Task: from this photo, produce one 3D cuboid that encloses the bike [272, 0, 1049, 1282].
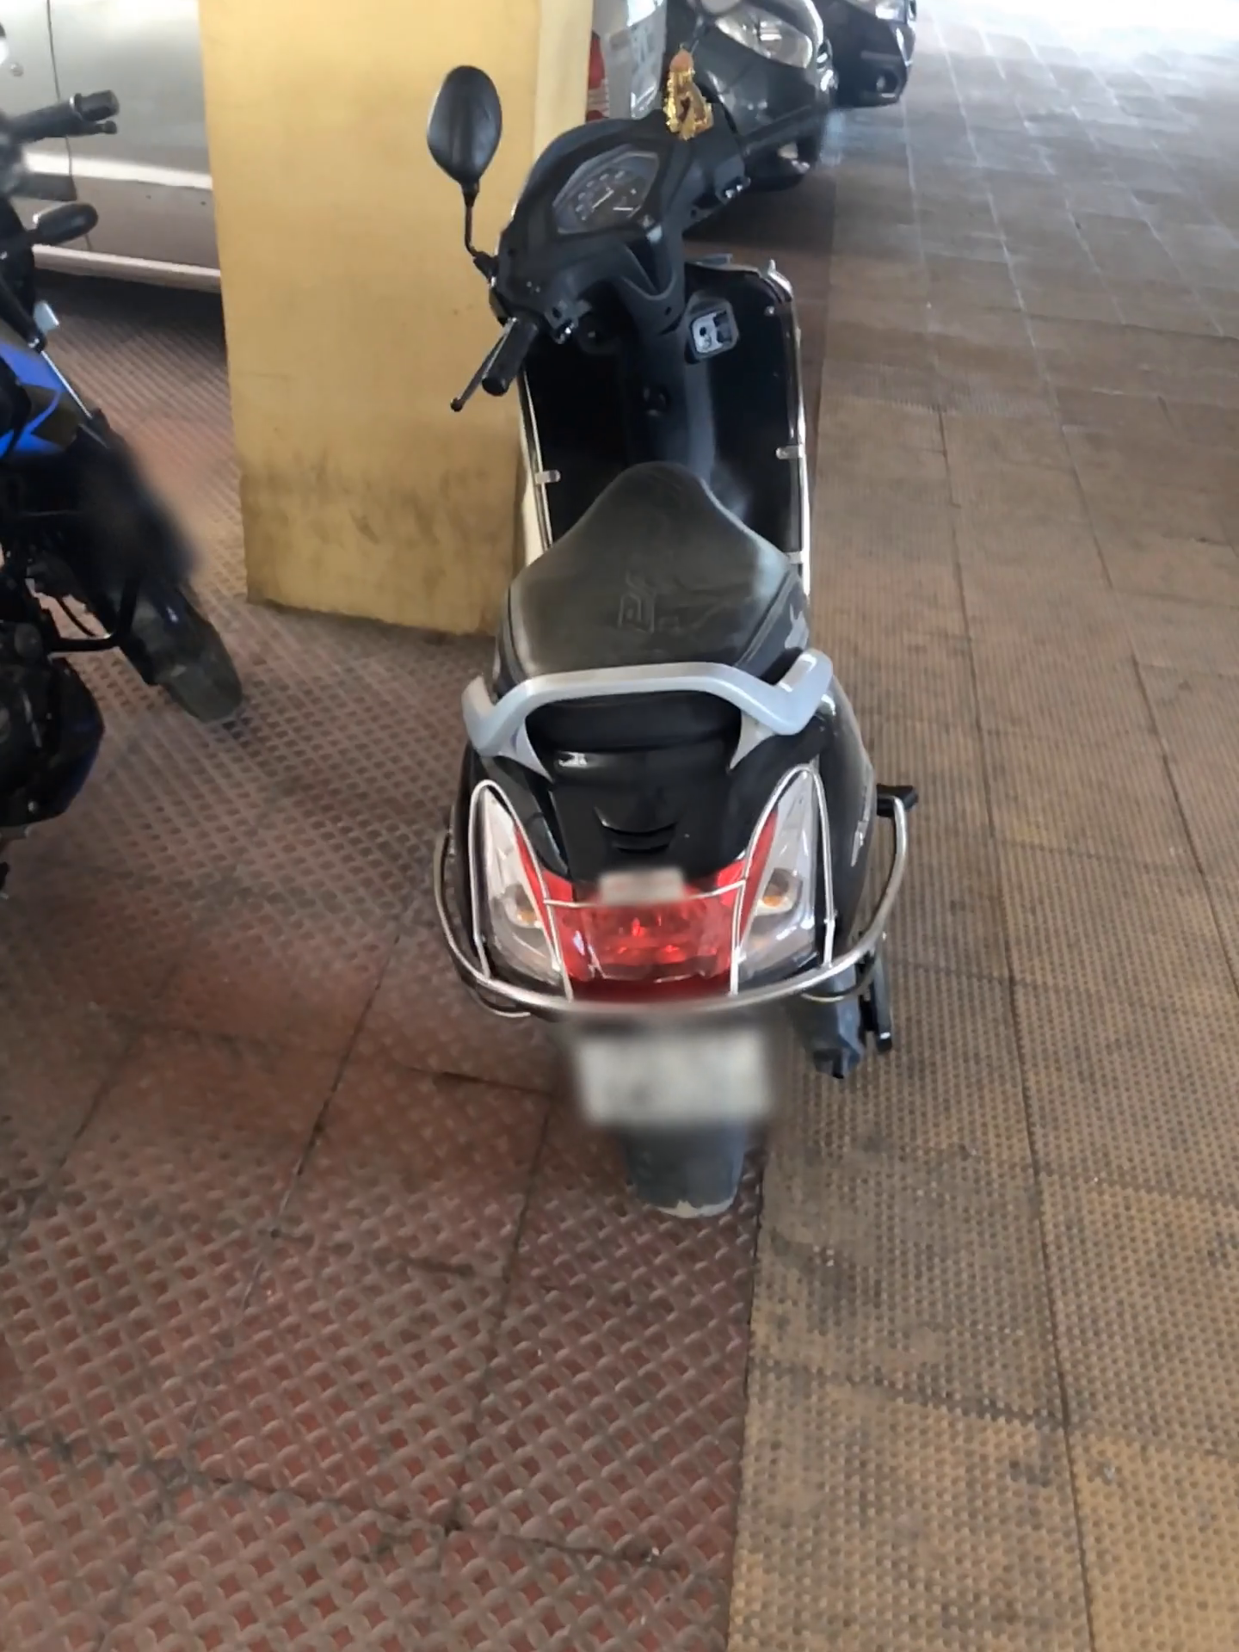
[{"bbox_3d":[-0.093,-0.367,1.945,0.608,1.172,1.448,0,40,-8],"label":"bike"}]
